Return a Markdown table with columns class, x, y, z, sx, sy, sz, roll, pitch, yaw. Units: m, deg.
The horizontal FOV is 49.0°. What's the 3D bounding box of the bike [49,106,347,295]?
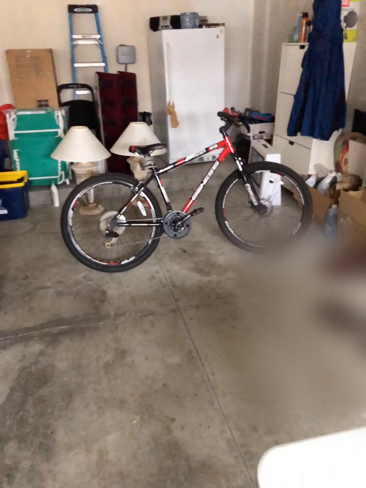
| class | x | y | z | sx | sy | sz | roll | pitch | yaw |
| --- | --- | --- | --- | --- | --- | --- | --- | --- | --- |
| bike | 0.031 | -0.316 | 2.717 | 1.667 | 1.053 | 0.592 | -4 | 25 | -5 |
